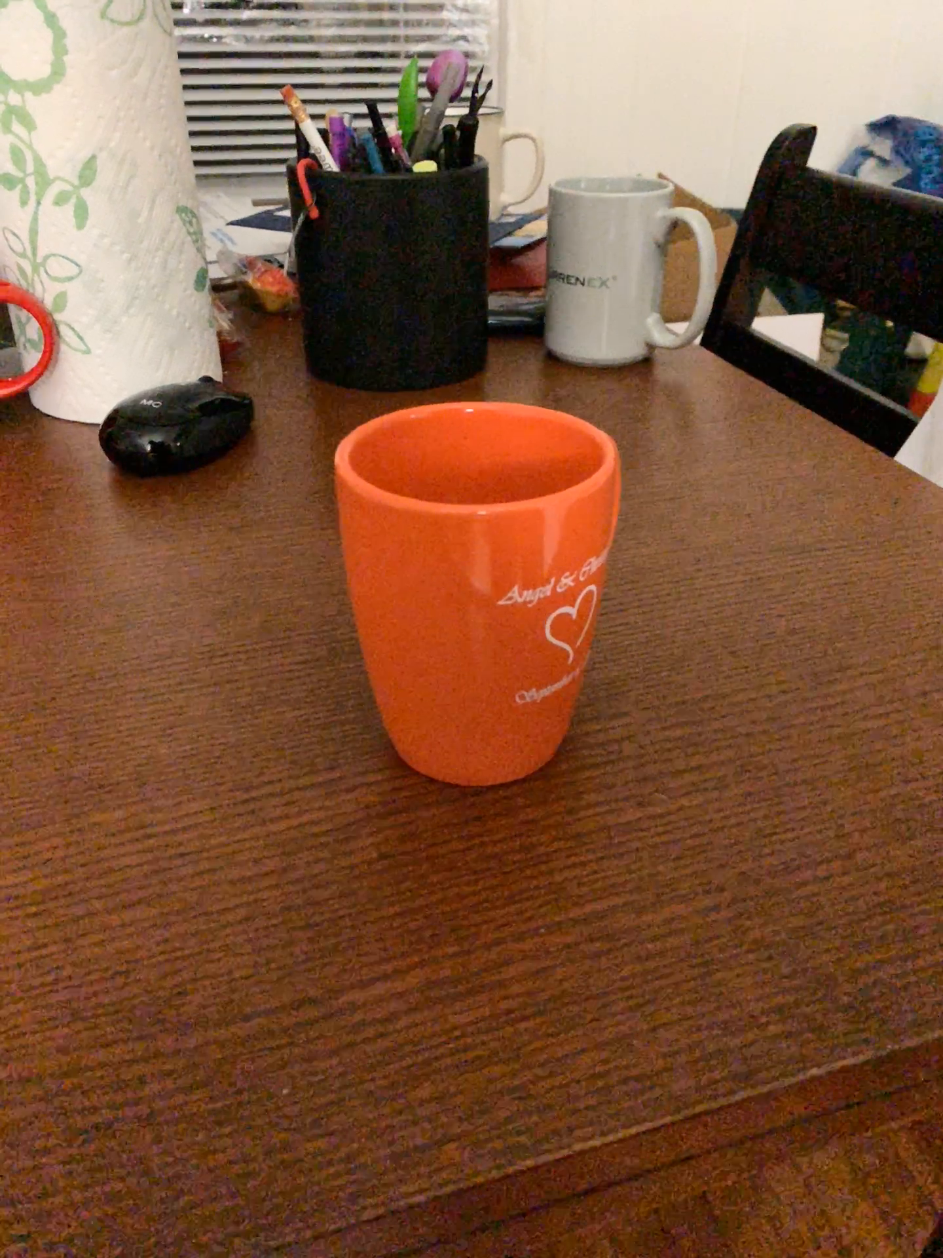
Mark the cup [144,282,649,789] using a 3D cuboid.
[{"bbox_3d":[-0.017,-0.042,0.331,0.100,0.109,0.130,18,37,27],"label":"cup"}]
